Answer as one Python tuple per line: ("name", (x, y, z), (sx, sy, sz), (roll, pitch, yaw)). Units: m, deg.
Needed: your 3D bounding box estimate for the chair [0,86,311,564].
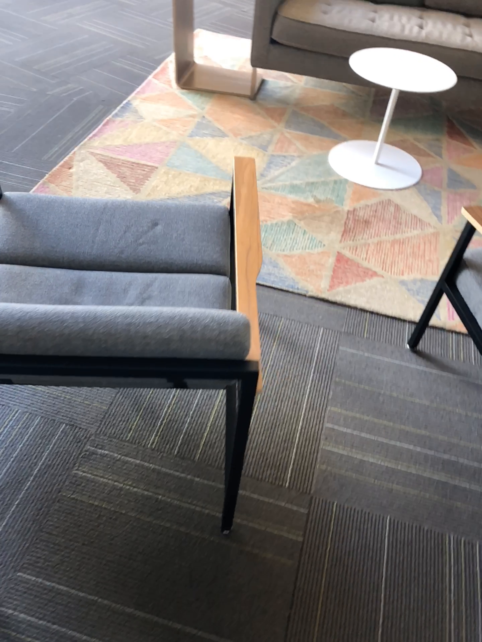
("chair", (-0.342, -0.024, 1.306), (0.790, 0.697, 0.924), (1, 44, -5))
